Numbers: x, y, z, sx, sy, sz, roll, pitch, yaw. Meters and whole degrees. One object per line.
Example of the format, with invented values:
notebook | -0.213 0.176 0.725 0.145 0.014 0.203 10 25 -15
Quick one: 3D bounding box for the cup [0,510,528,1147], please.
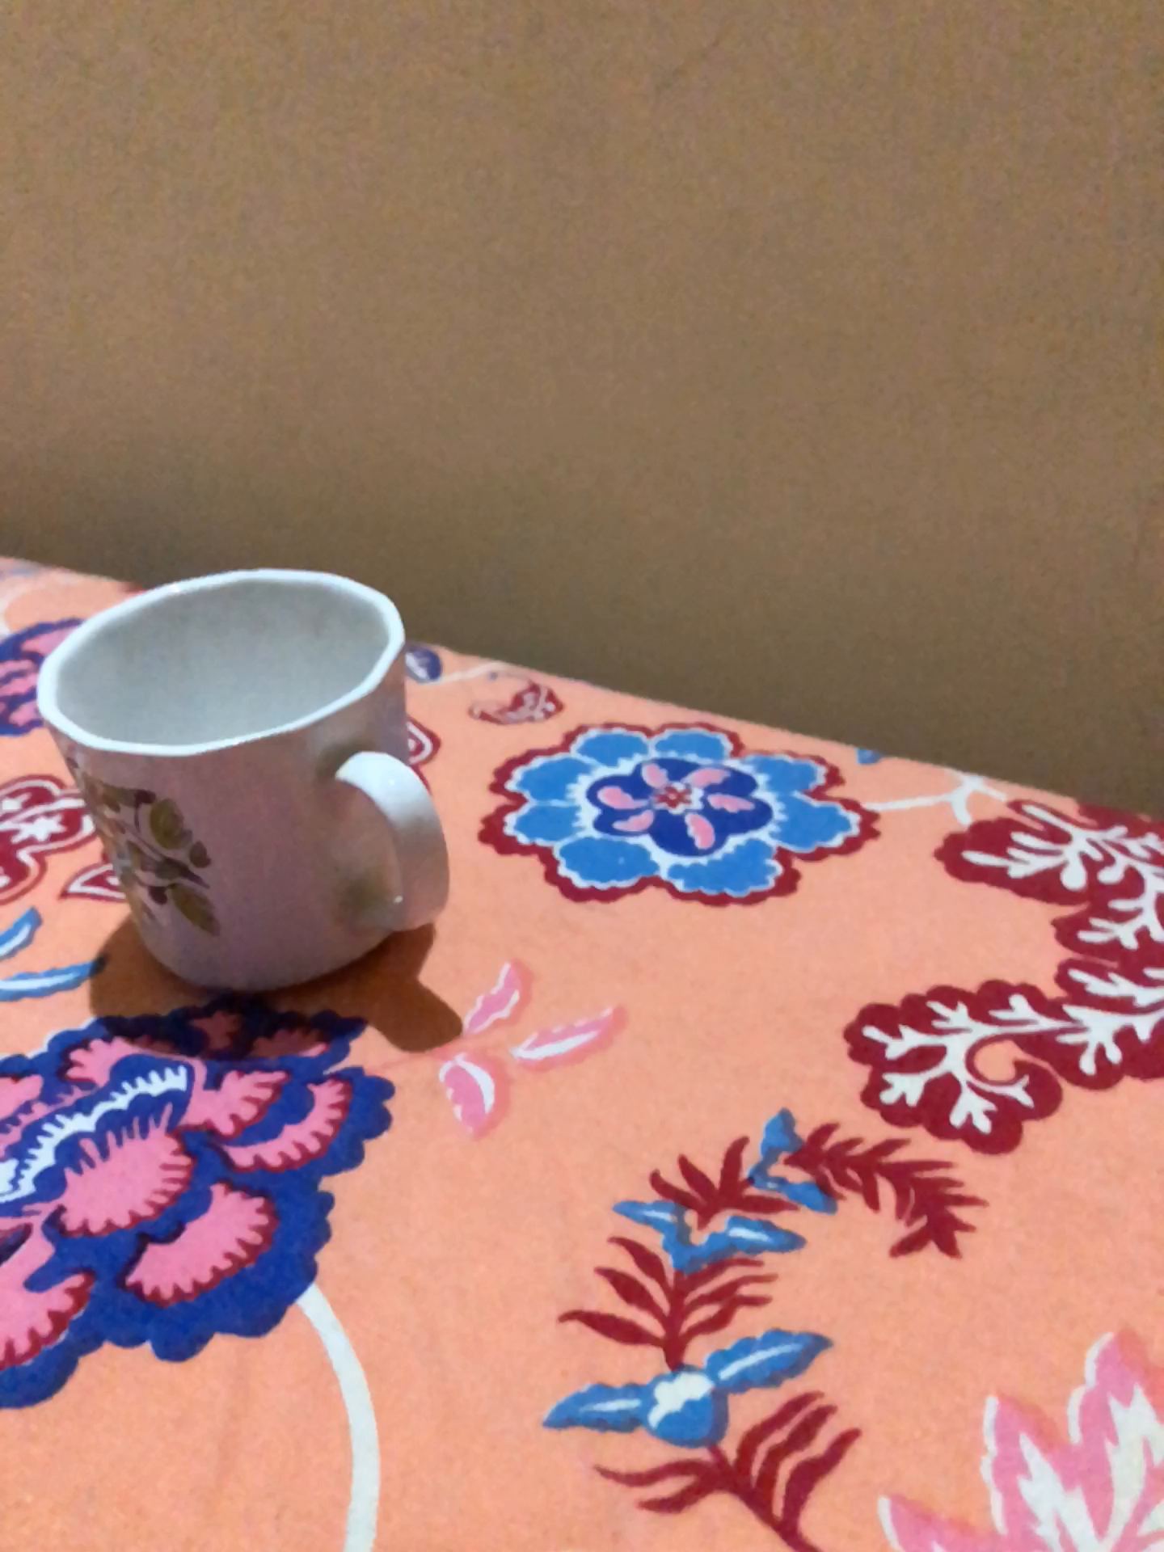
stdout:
cup | -0.066 0.003 0.239 0.060 0.070 0.090 -31 39 -32
